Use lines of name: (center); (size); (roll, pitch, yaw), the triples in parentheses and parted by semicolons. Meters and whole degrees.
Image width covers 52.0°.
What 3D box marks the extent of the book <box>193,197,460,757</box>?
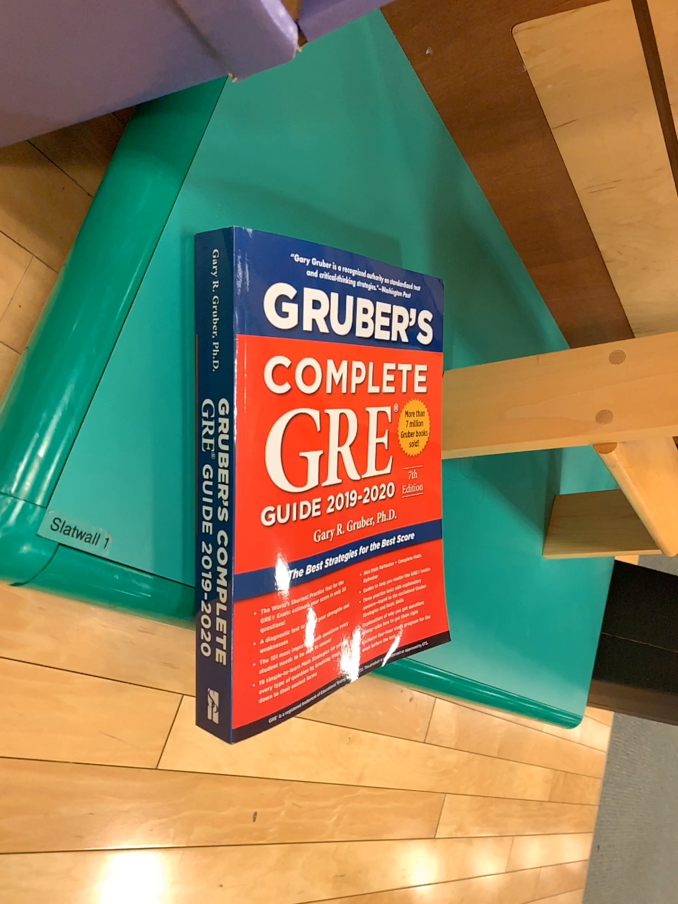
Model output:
book: (0.003, 0.010, 0.456); (0.221, 0.040, 0.290); (-6, 100, -53)
